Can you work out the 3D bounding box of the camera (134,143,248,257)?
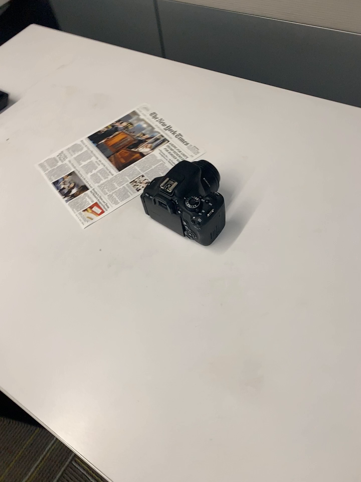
[{"bbox_3d":[0.020,-0.068,0.604,0.137,0.090,0.109,31,66,25],"label":"camera"}]
